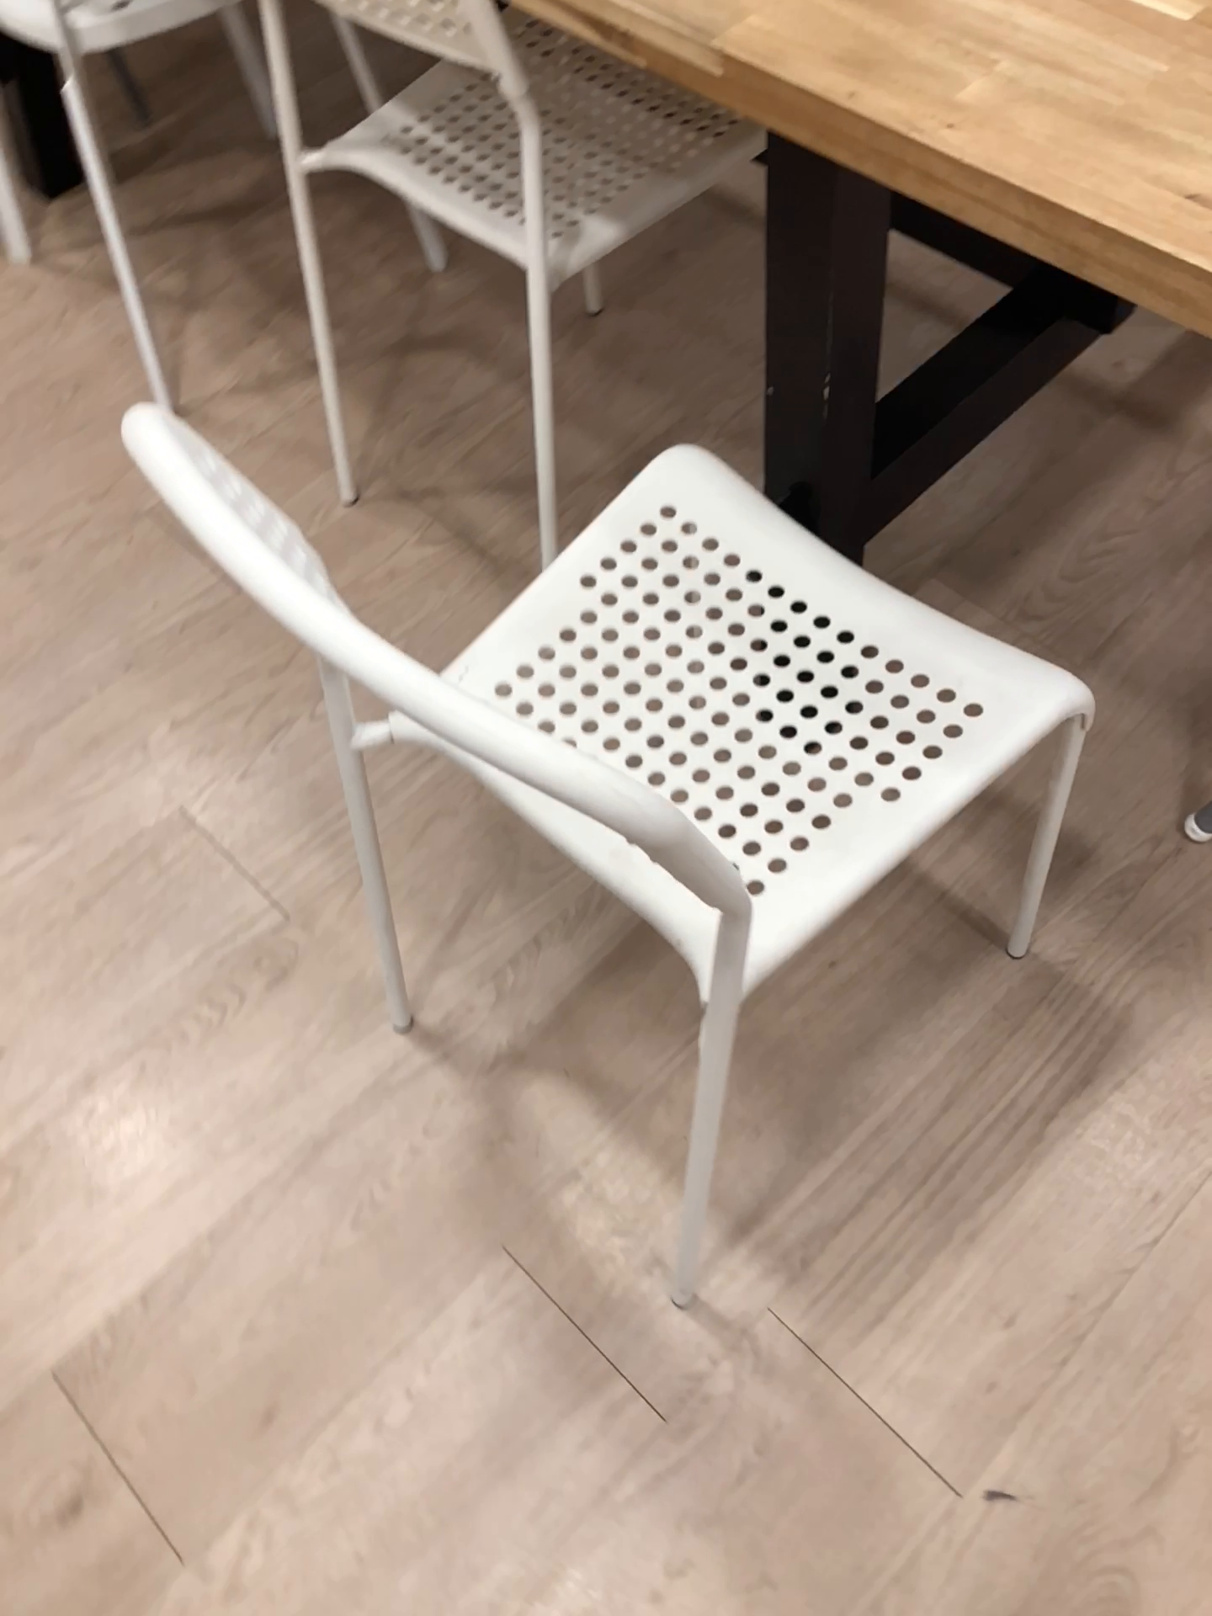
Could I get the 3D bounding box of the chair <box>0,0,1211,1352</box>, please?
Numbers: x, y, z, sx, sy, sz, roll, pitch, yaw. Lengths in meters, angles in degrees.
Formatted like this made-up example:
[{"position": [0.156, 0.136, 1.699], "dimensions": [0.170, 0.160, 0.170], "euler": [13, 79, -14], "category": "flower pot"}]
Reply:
[{"position": [0.052, -0.026, 0.890], "dimensions": [0.451, 0.697, 0.421], "euler": [-41, 63, -18], "category": "chair"}]
